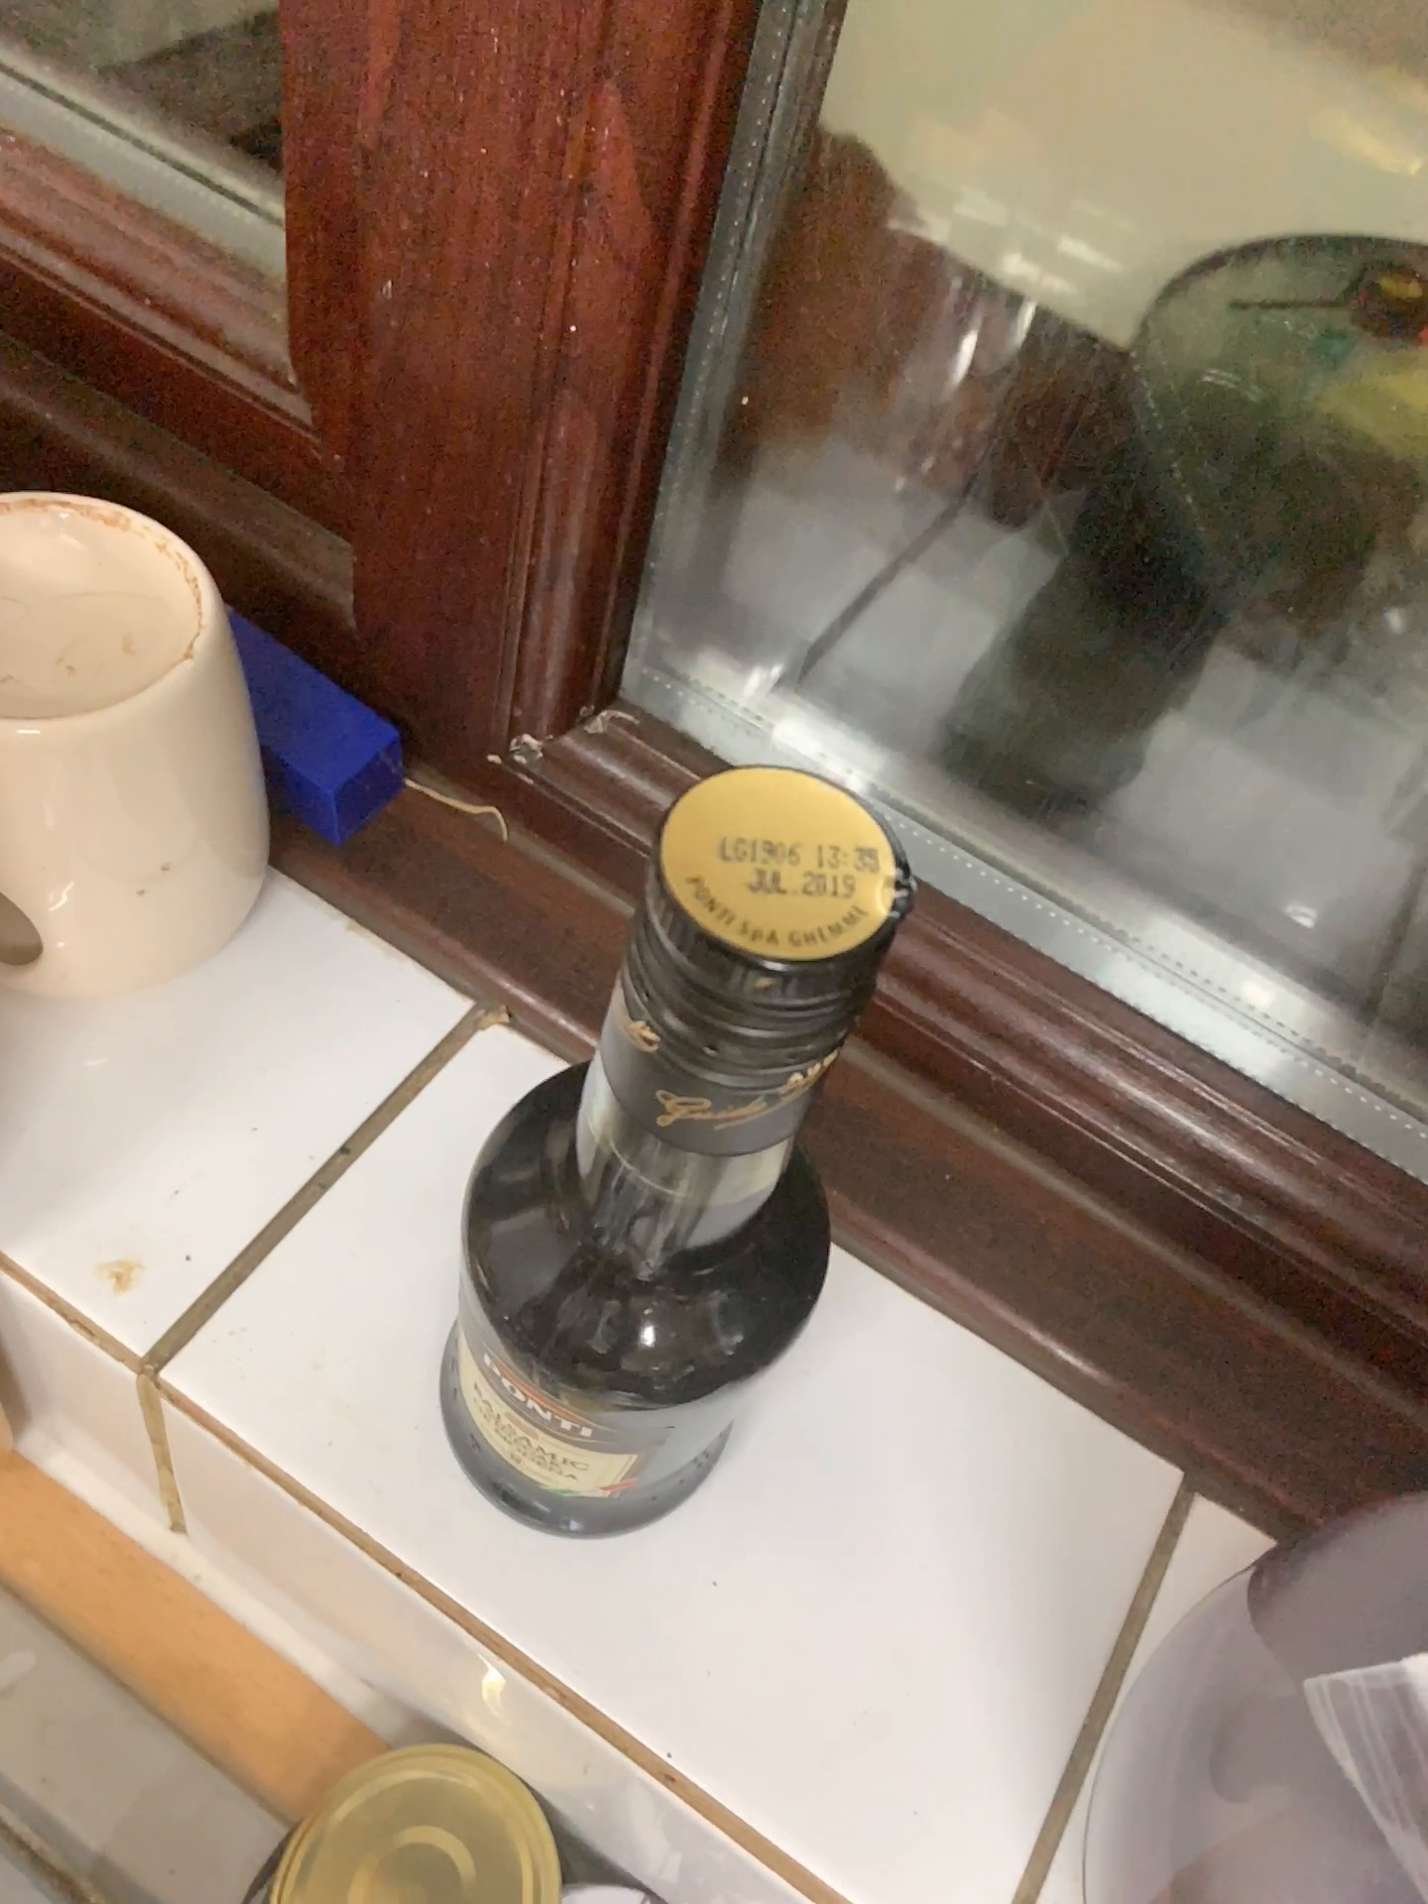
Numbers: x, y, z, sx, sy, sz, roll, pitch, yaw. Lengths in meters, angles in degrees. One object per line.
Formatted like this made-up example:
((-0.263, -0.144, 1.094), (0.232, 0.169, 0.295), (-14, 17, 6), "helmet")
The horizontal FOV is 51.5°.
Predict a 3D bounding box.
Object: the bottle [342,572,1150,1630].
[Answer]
((-0.010, 0.040, 0.245), (0.070, 0.178, 0.071), (7, 53, -10), "bottle")
